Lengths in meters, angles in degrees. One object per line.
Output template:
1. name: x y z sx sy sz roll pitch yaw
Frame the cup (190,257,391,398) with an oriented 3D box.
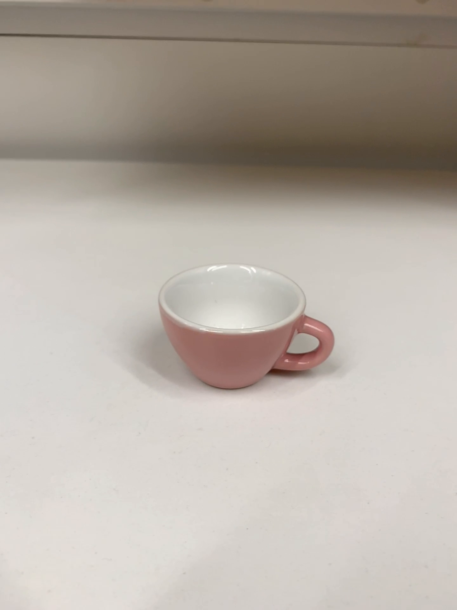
1. cup: 0.021 0.008 0.194 0.070 0.040 0.040 1 29 0
